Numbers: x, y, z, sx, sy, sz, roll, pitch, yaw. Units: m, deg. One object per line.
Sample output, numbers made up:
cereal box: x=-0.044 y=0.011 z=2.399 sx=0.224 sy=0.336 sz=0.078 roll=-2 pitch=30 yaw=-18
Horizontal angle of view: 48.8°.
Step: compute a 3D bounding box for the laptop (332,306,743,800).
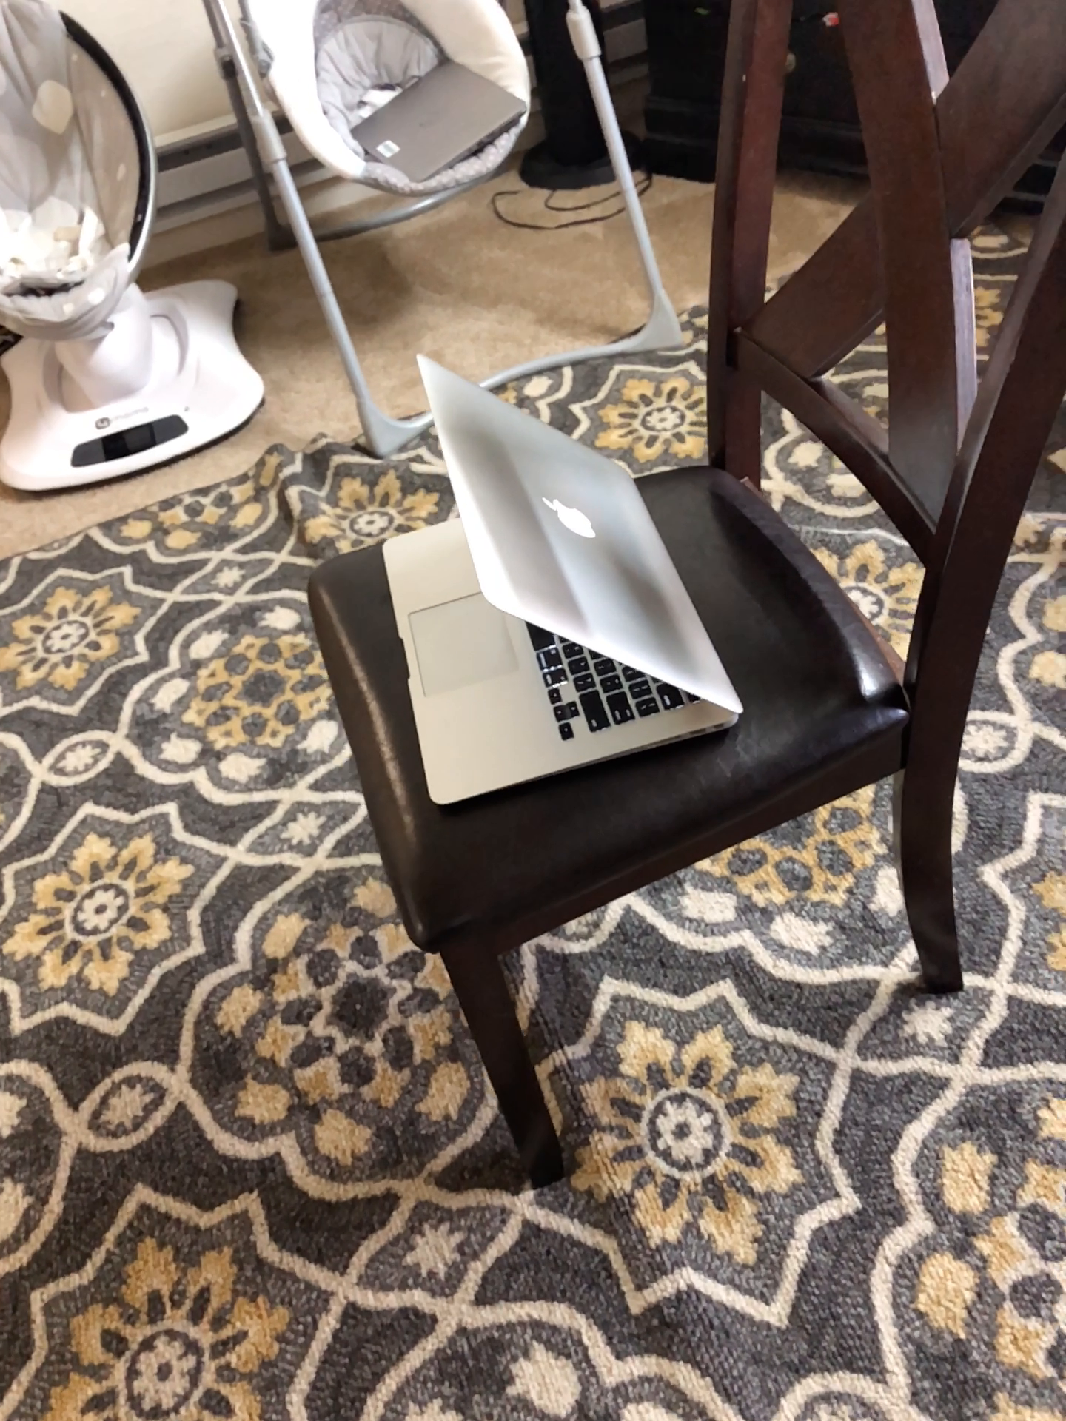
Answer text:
laptop: x=-0.005 y=-0.124 z=0.842 sx=0.215 sy=0.154 sz=0.305 roll=-15 pitch=46 yaw=-1
